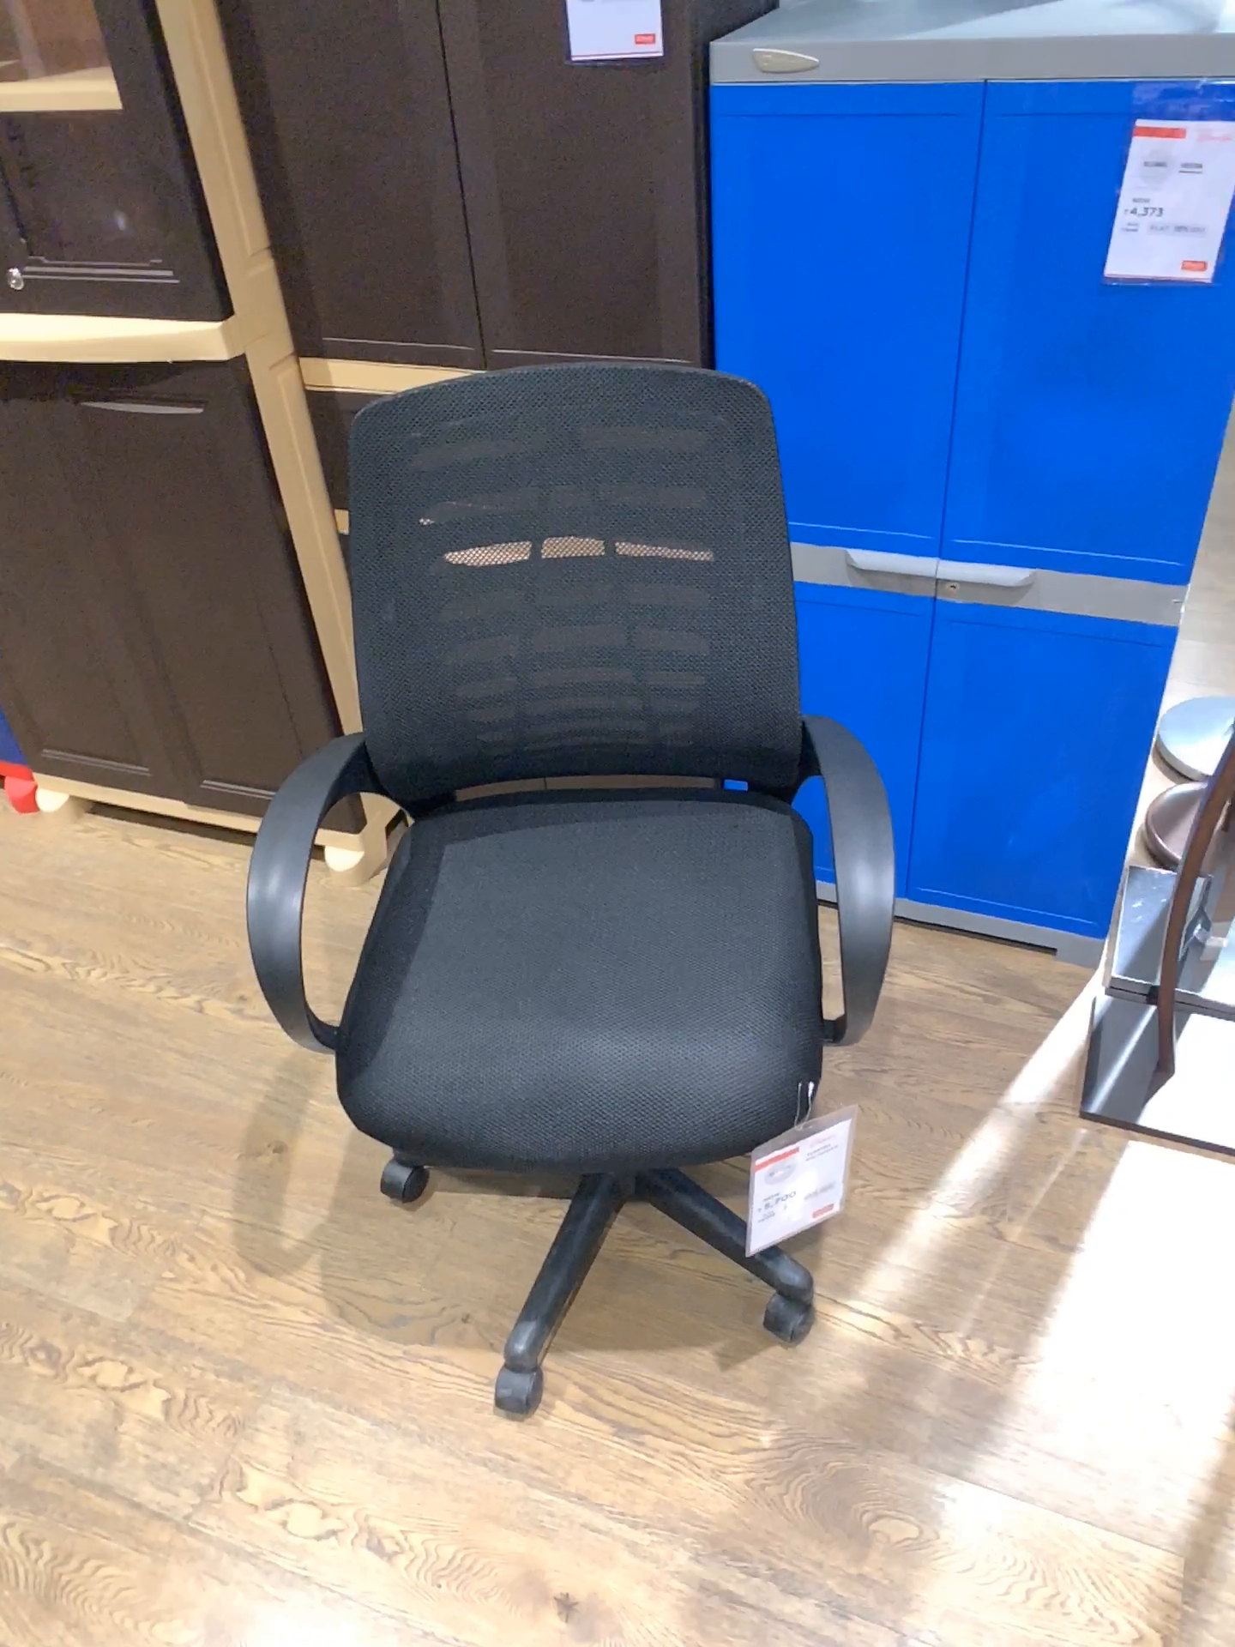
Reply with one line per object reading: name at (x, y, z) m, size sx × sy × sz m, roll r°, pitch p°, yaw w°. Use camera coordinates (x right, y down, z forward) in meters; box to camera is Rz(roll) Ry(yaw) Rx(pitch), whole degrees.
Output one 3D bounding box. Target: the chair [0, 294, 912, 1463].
chair at (-0.075, 0.093, 1.266) m, size 0.600 × 0.996 × 0.602 m, roll -1°, pitch 39°, yaw 6°
